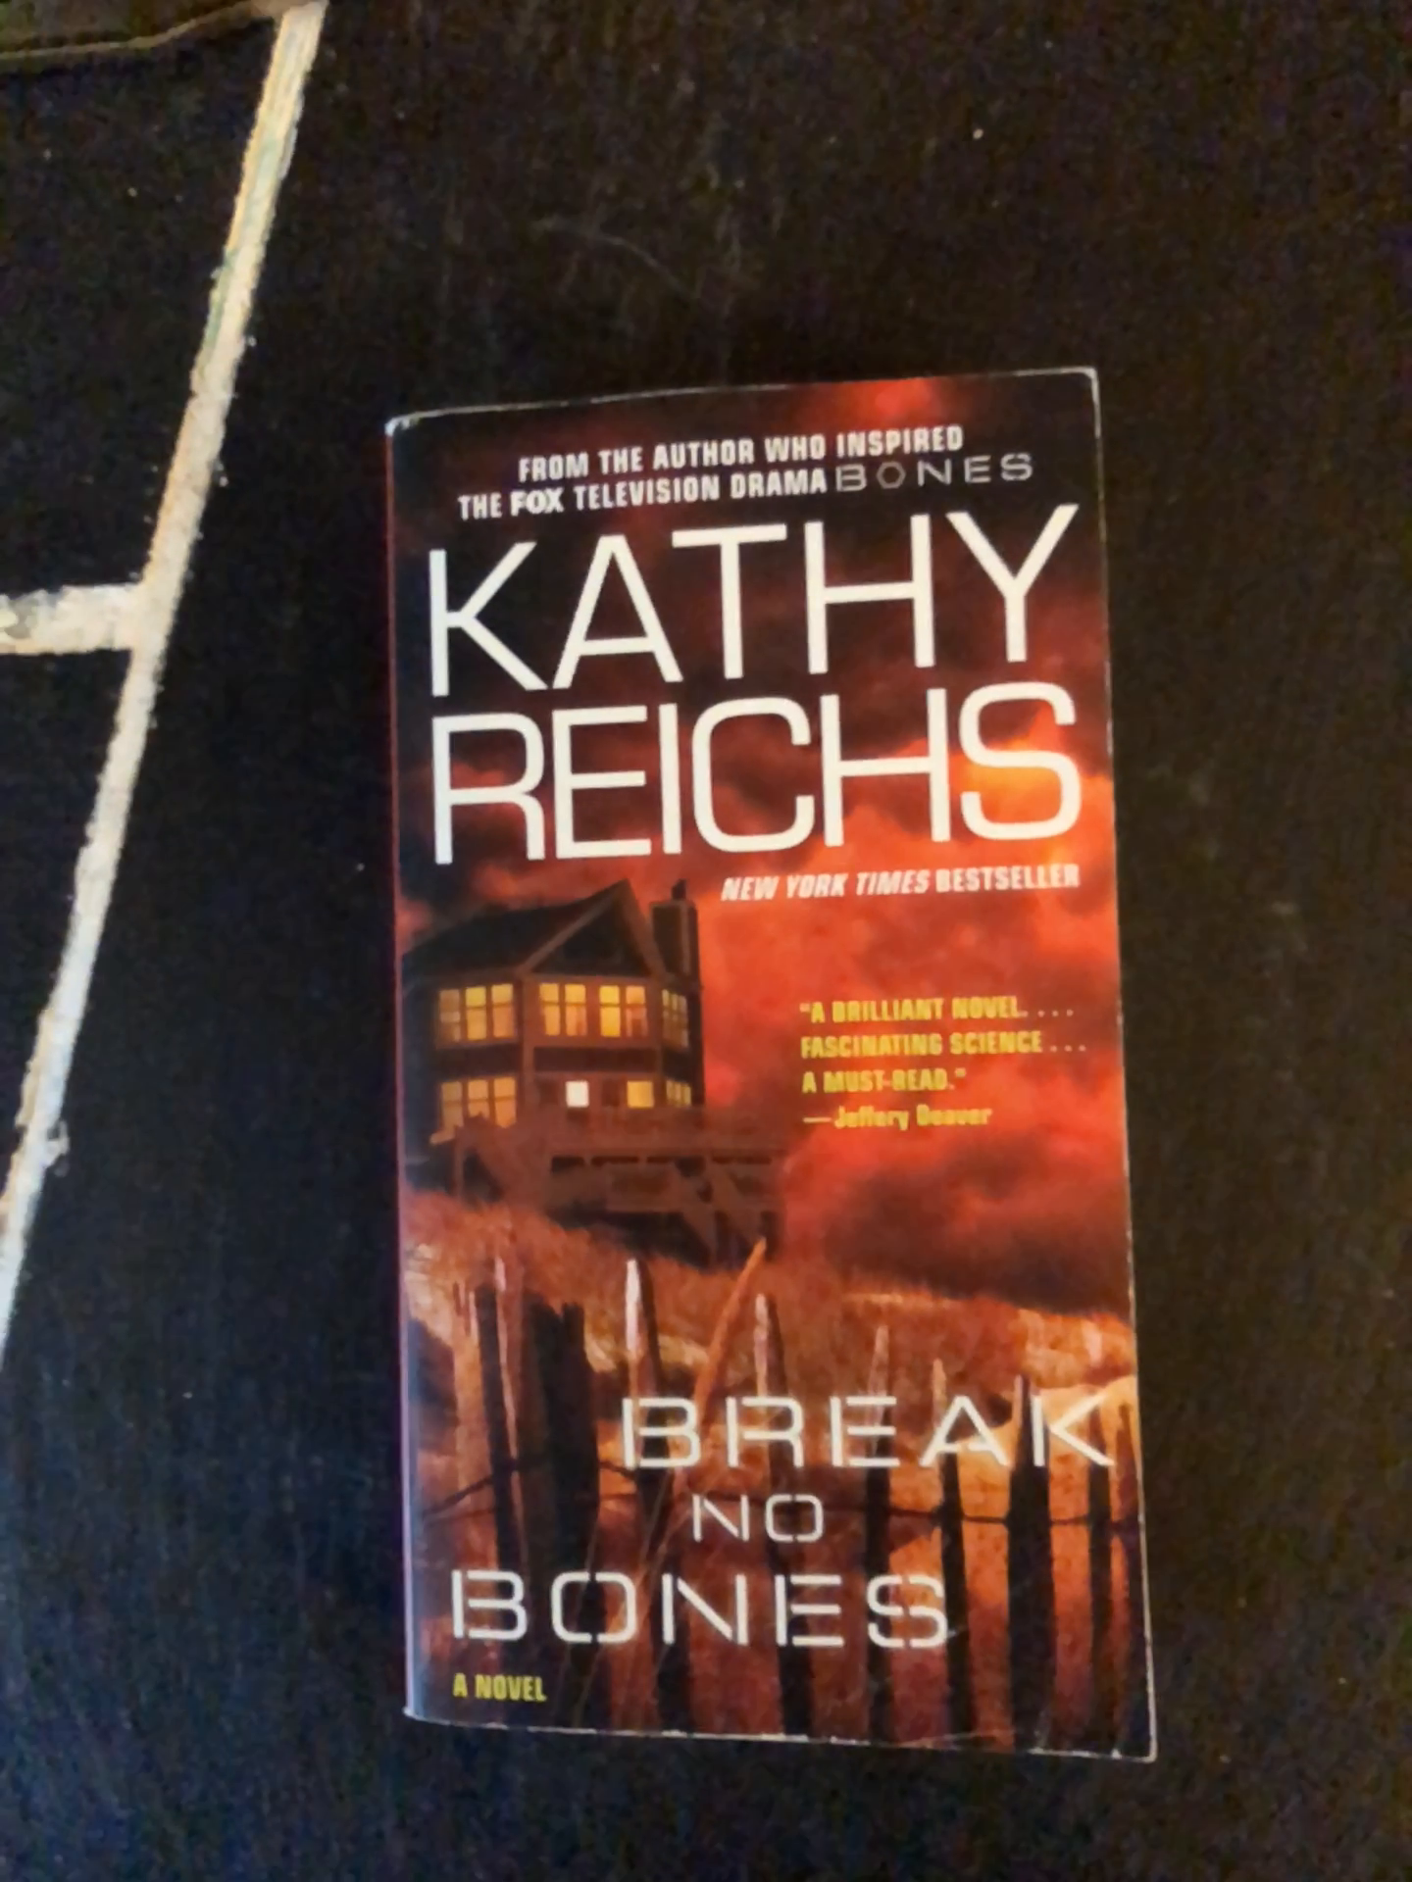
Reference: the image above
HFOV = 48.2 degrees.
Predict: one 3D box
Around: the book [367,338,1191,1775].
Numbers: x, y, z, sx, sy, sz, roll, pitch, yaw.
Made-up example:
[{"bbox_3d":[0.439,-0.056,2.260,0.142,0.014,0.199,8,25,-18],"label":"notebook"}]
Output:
[{"bbox_3d":[0.009,0.016,0.230,0.108,0.030,0.189,-2,88,7],"label":"book"}]
